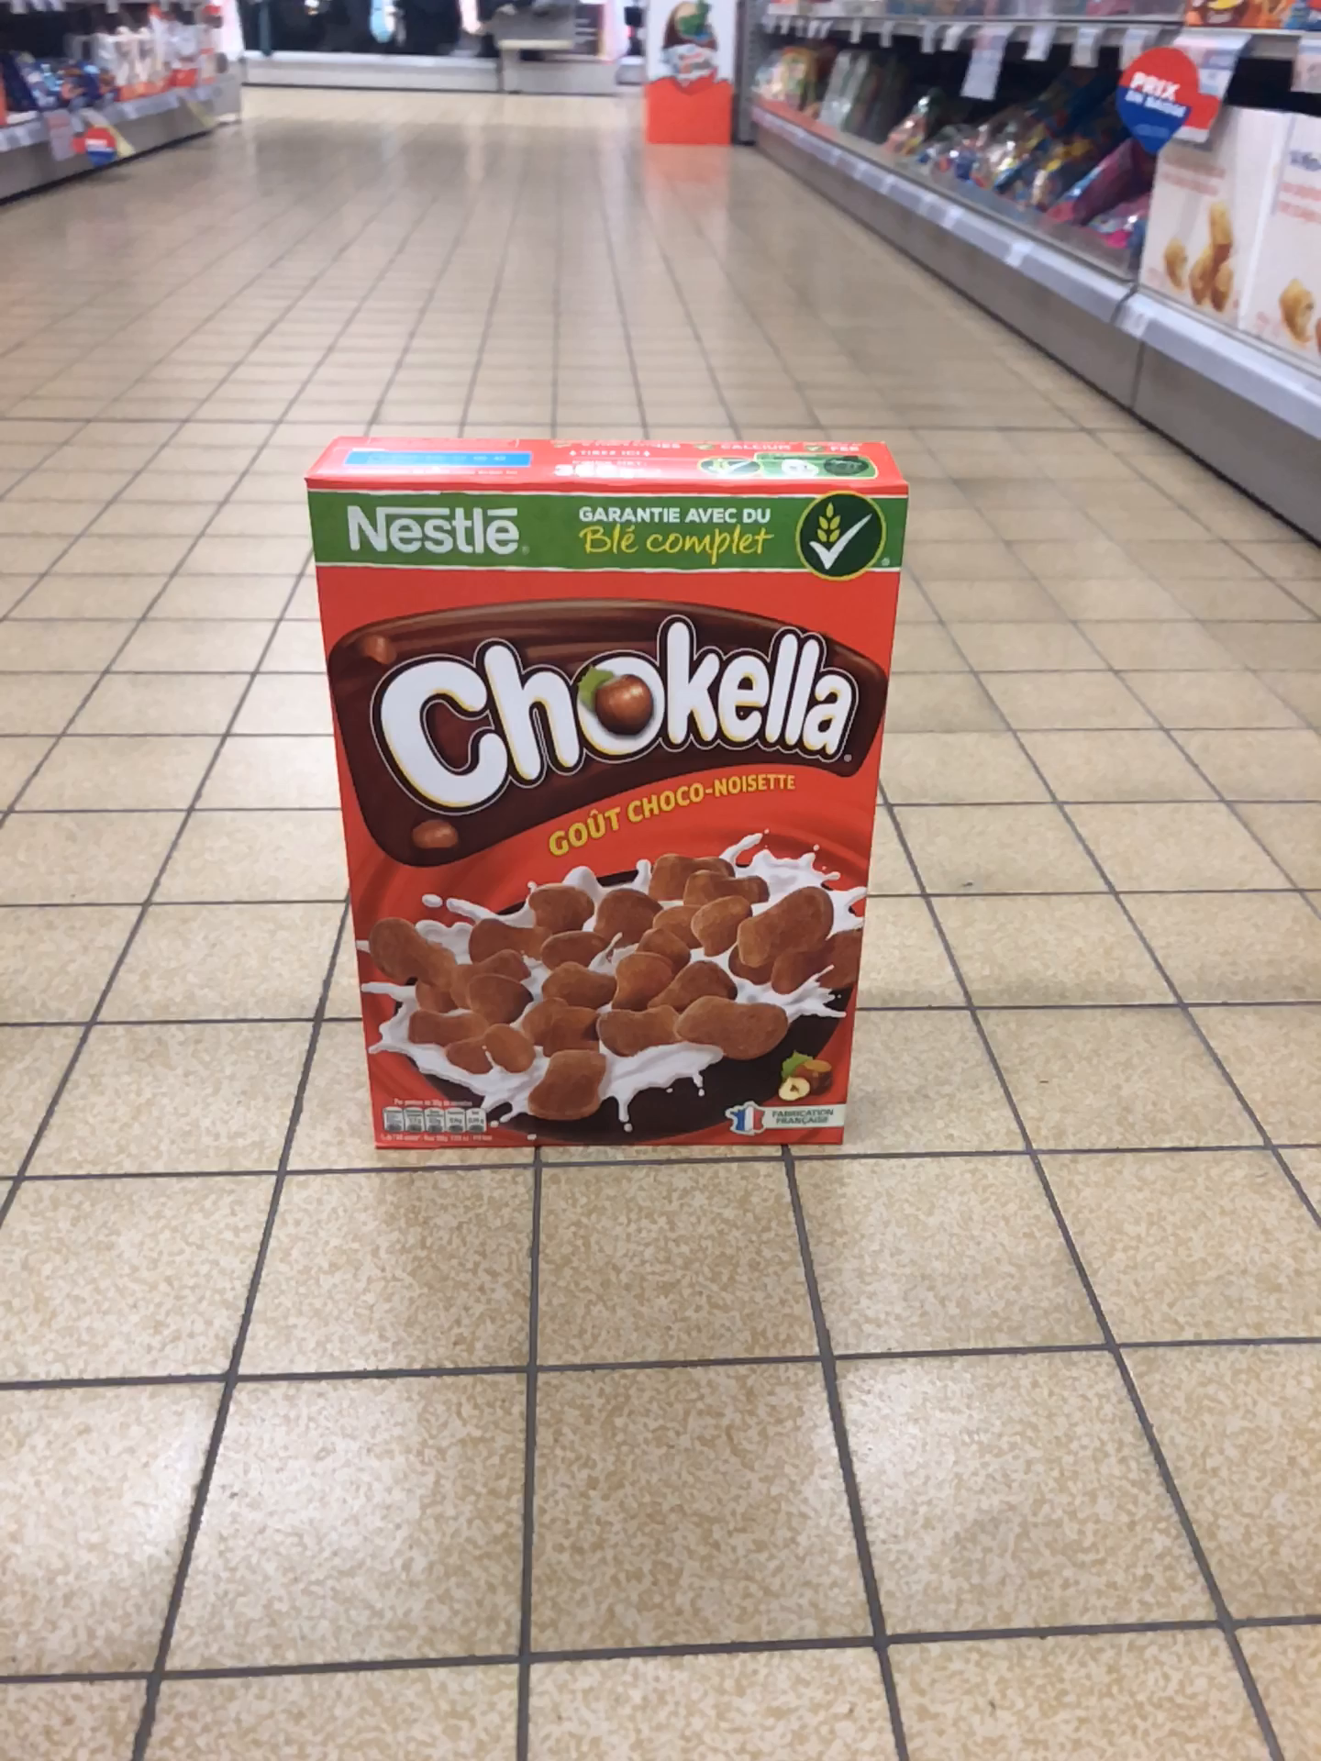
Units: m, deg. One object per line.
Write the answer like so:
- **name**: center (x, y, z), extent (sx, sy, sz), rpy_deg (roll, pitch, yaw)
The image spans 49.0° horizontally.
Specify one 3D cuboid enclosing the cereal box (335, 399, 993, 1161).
- **cereal box**: center (-0.002, -0.025, 0.535), extent (0.200, 0.278, 0.060), rpy_deg (1, 30, -1)
